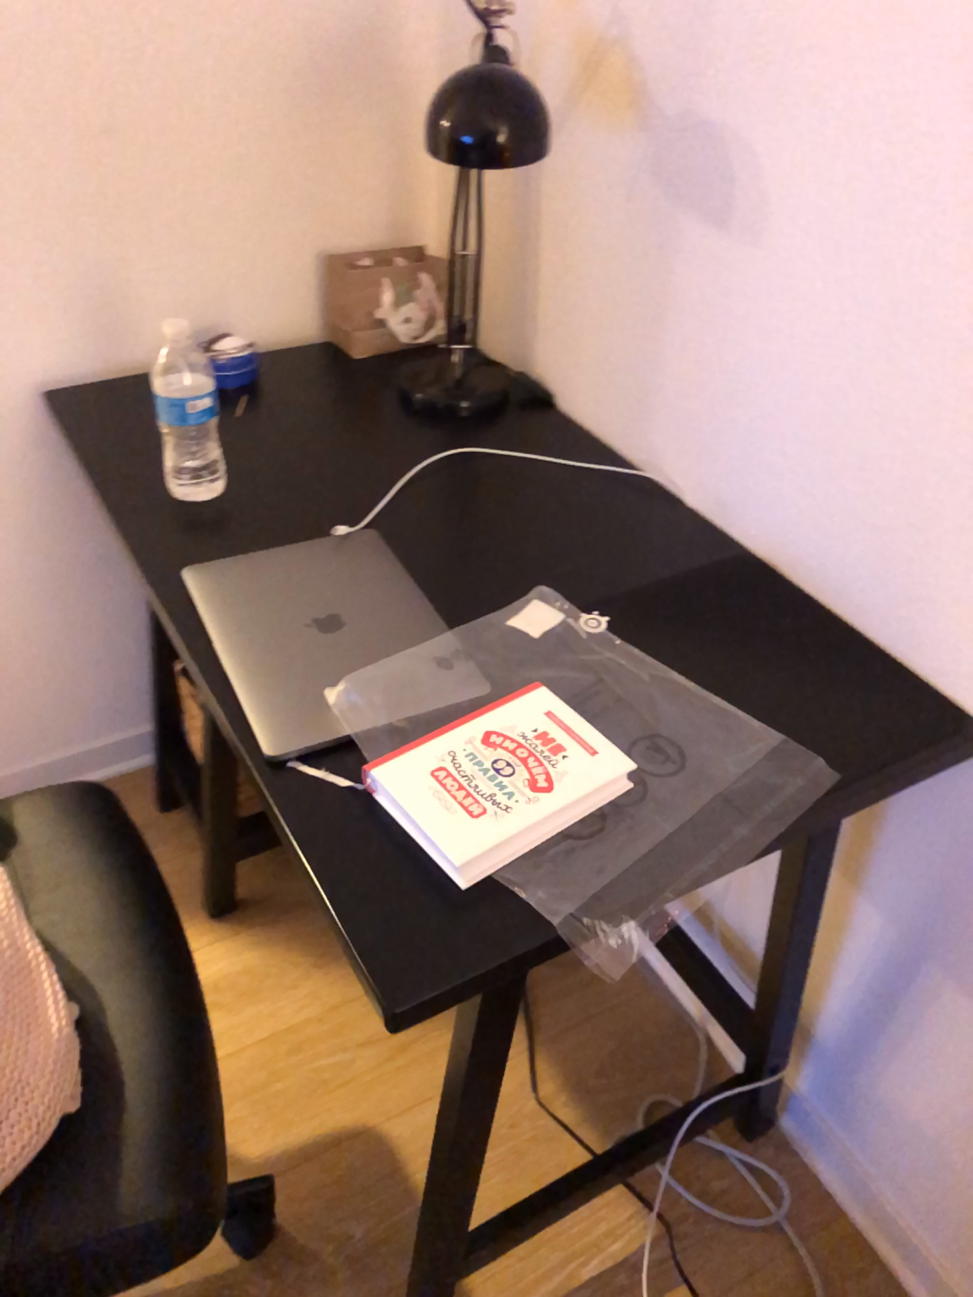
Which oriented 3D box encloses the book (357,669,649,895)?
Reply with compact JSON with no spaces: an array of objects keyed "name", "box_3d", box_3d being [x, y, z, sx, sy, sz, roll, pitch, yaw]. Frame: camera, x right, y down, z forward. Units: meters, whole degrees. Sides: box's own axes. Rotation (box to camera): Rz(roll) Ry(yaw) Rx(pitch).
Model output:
[{"name":"book","box_3d":[0.014,0.100,0.874,0.190,0.030,0.140,-25,46,-31]}]
